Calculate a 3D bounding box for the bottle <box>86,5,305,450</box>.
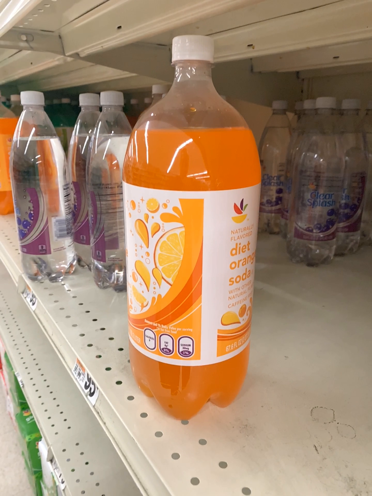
[{"bbox_3d":[0.000,-0.012,0.313,0.110,0.289,0.120,-1,19,0],"label":"bottle"}]
